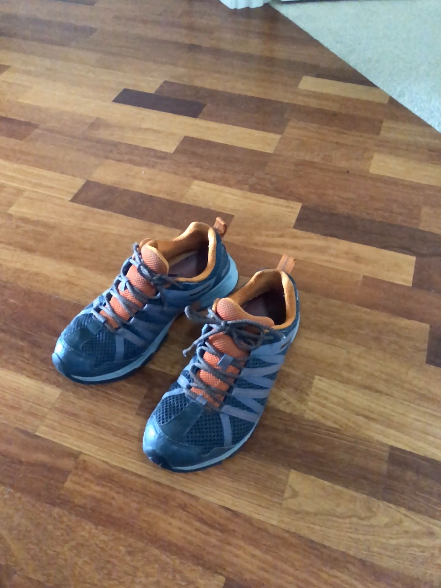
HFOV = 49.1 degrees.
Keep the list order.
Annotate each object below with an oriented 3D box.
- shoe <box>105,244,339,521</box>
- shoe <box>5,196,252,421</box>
[{"bbox_3d":[0.015,0.089,0.564,0.119,0.117,0.279,27,55,21],"label":"shoe"},{"bbox_3d":[-0.101,0.009,0.625,0.282,0.117,0.113,-36,59,-26],"label":"shoe"}]
